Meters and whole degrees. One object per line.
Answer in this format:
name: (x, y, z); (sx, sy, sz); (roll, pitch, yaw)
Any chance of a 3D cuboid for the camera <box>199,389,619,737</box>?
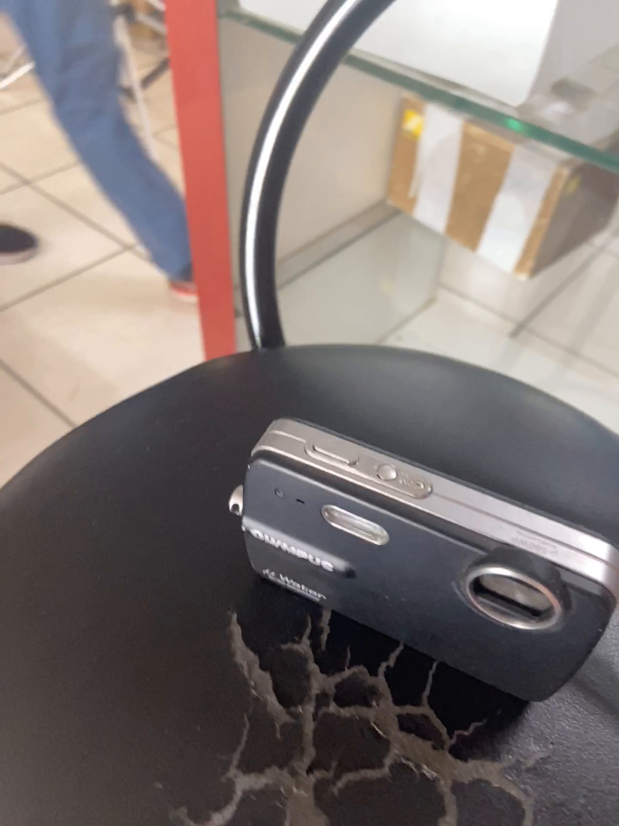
camera: (0.022, 0.041, 0.180); (0.100, 0.060, 0.030); (22, 49, 16)
